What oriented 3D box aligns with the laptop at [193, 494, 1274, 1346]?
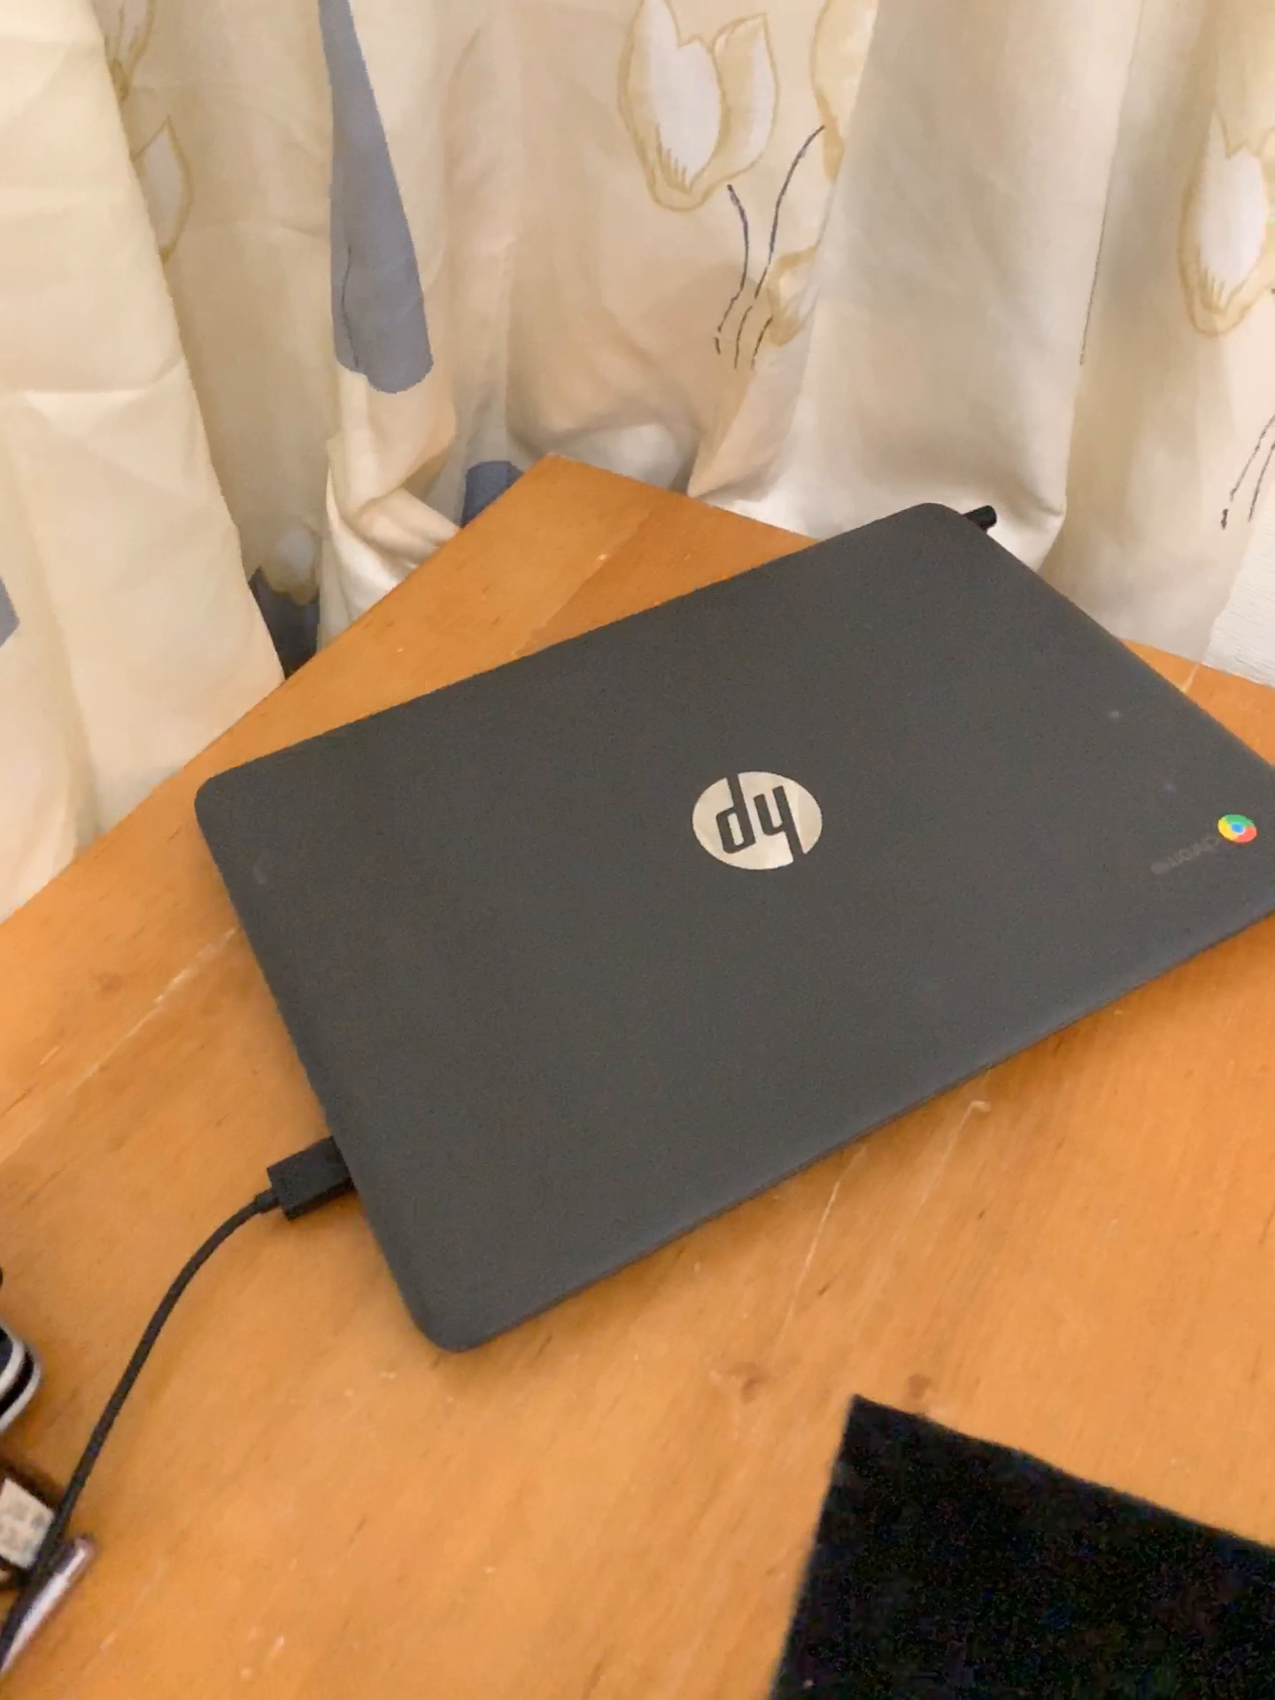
[{"bbox_3d":[0.030,-0.011,0.358,0.261,0.004,0.185,-24,51,-16],"label":"laptop"}]
